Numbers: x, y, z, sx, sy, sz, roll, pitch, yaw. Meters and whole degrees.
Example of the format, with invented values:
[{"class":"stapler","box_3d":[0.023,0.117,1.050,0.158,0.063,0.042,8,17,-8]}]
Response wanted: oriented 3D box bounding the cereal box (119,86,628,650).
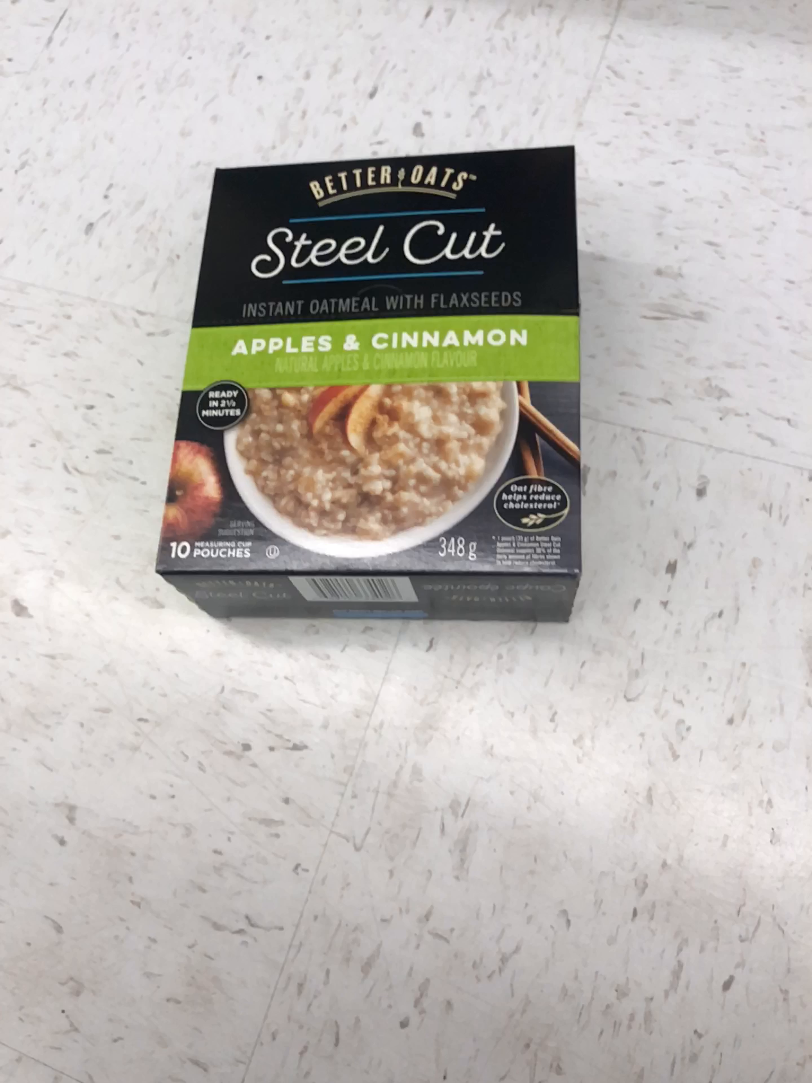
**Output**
[{"class":"cereal box","box_3d":[-0.005,-0.066,0.350,0.160,0.070,0.200,0,70,7]}]
